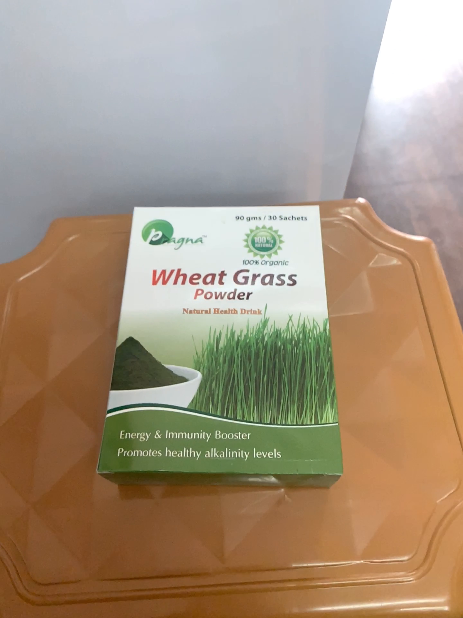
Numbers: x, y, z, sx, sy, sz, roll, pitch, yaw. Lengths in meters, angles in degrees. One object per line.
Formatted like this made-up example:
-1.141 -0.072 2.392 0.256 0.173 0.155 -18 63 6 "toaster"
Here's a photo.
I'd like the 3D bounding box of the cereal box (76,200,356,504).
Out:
-0.006 0.020 0.283 0.130 0.050 0.170 0 63 2 "cereal box"
